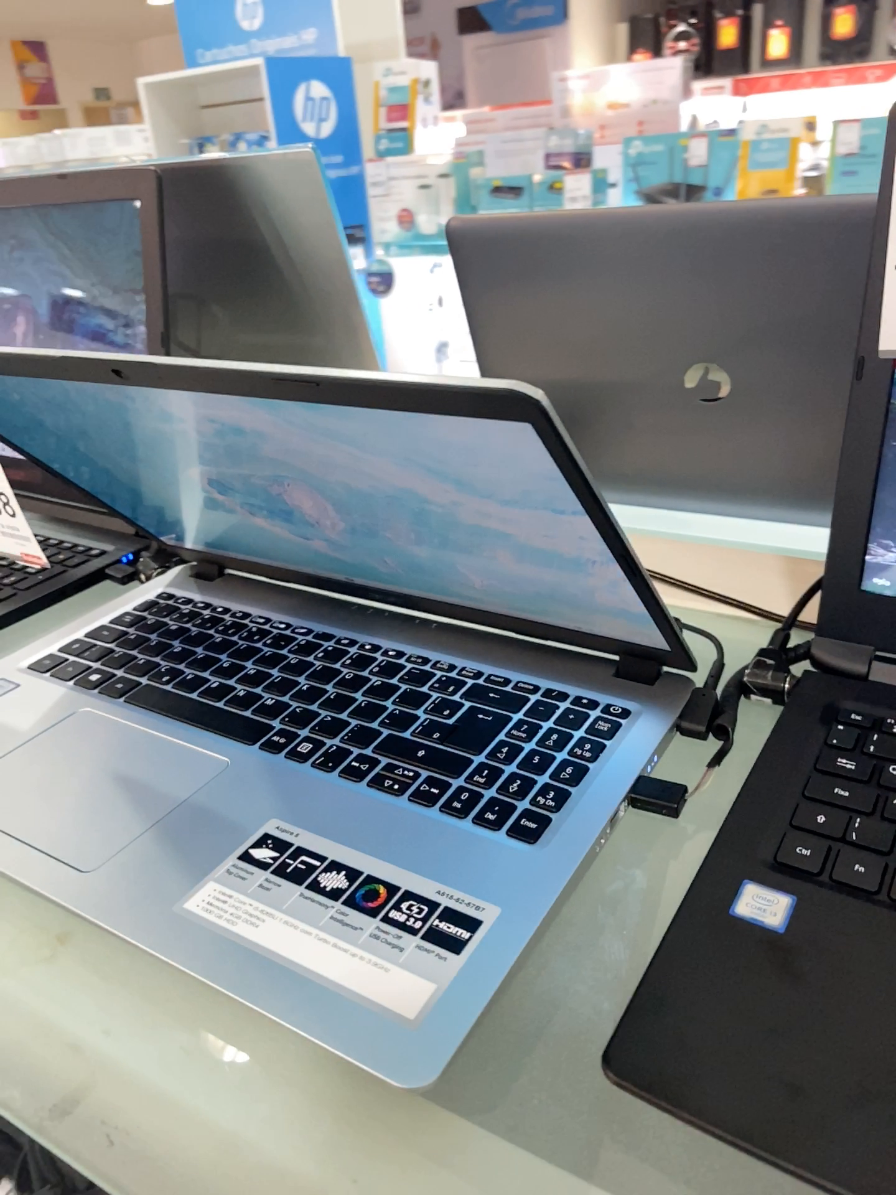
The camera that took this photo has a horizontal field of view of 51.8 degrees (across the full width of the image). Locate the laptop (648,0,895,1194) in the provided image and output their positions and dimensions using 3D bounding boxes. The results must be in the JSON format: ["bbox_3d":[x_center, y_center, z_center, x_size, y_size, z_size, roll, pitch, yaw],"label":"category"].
[{"bbox_3d":[0.266,-0.004,0.222,0.354,0.238,0.289,11,30,32],"label":"laptop"}]

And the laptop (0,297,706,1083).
[{"bbox_3d":[-0.100,-0.018,0.409,0.353,0.175,0.237,11,31,30],"label":"laptop"}]
